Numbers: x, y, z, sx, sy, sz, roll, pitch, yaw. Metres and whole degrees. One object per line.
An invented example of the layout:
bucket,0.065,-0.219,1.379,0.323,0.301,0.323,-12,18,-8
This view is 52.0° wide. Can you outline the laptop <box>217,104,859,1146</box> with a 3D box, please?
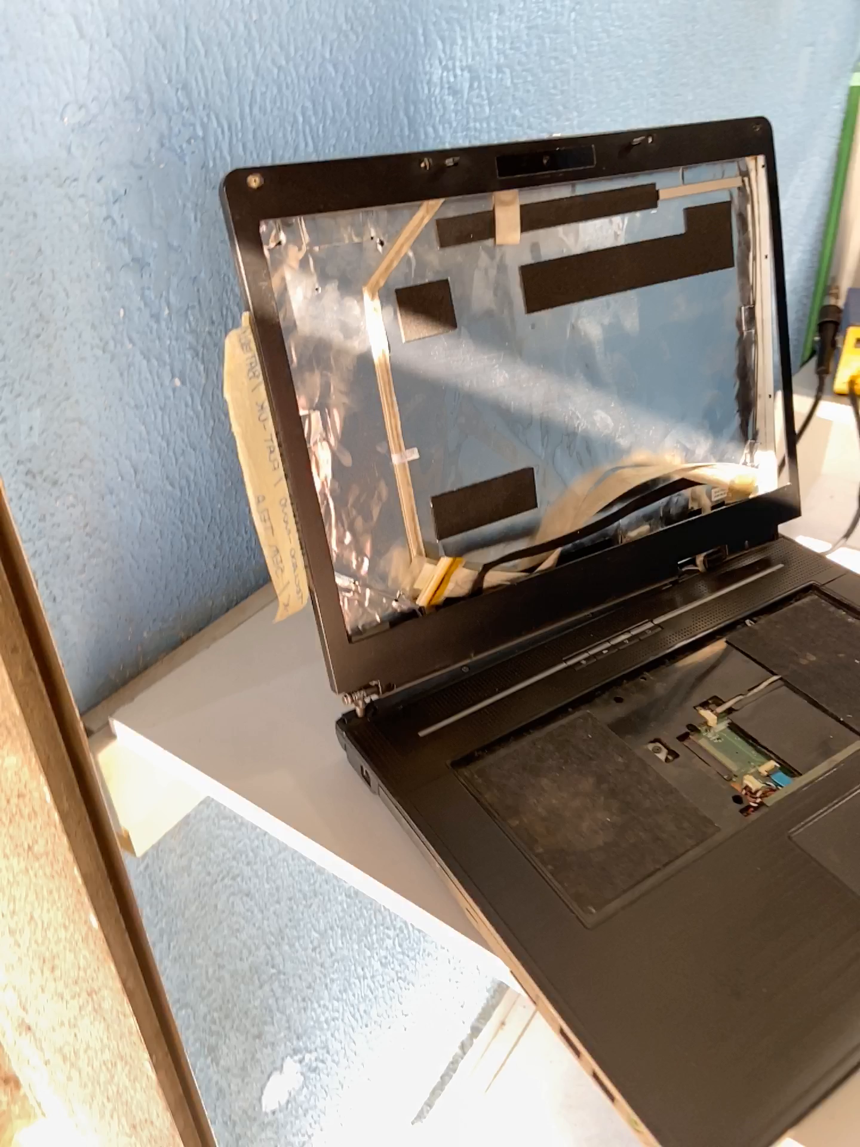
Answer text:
laptop,0.146,-0.044,0.422,0.353,0.261,0.351,-20,38,-25
